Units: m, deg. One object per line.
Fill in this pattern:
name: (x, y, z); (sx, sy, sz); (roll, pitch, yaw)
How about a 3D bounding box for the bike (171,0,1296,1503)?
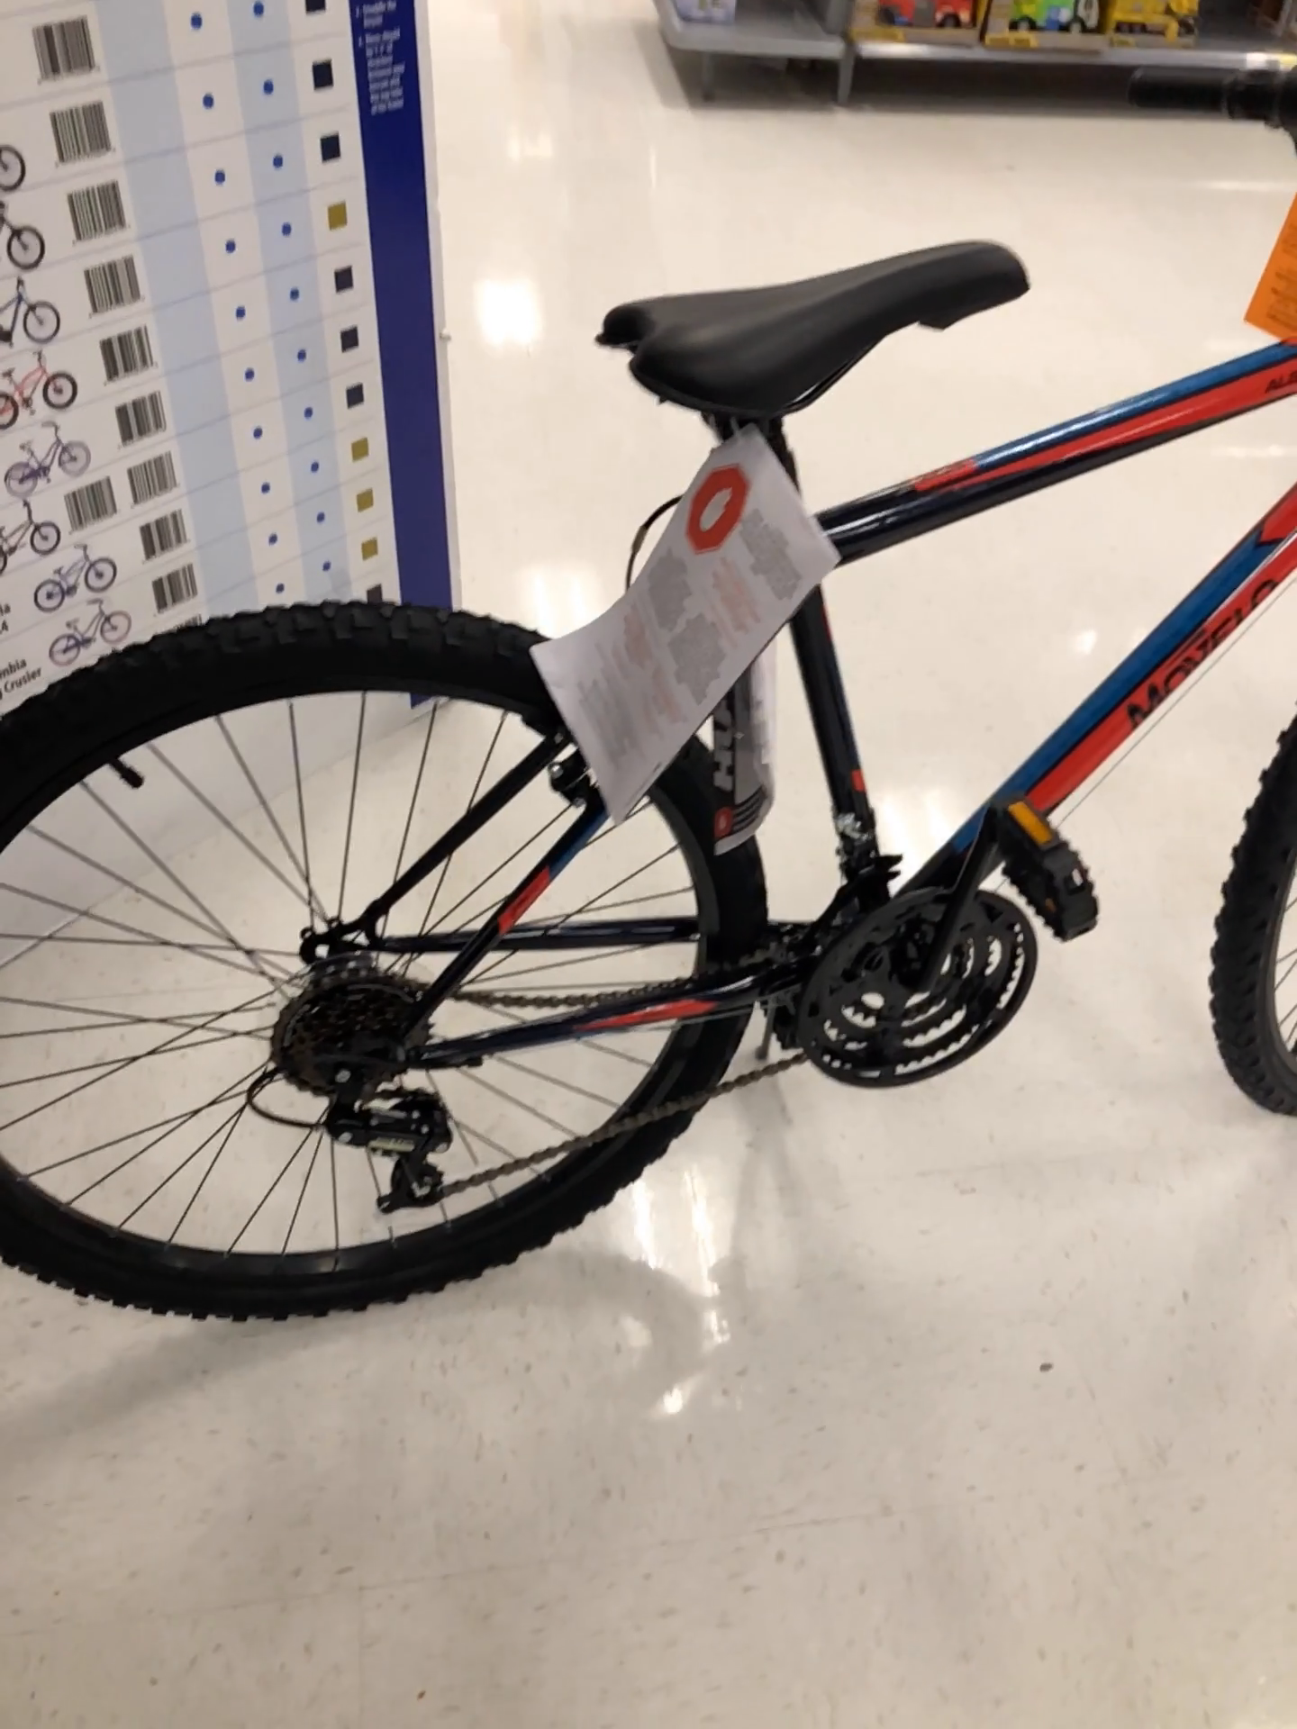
bike: (0.417, -0.163, 1.096); (1.285, 0.942, 0.562); (-12, 46, -14)
